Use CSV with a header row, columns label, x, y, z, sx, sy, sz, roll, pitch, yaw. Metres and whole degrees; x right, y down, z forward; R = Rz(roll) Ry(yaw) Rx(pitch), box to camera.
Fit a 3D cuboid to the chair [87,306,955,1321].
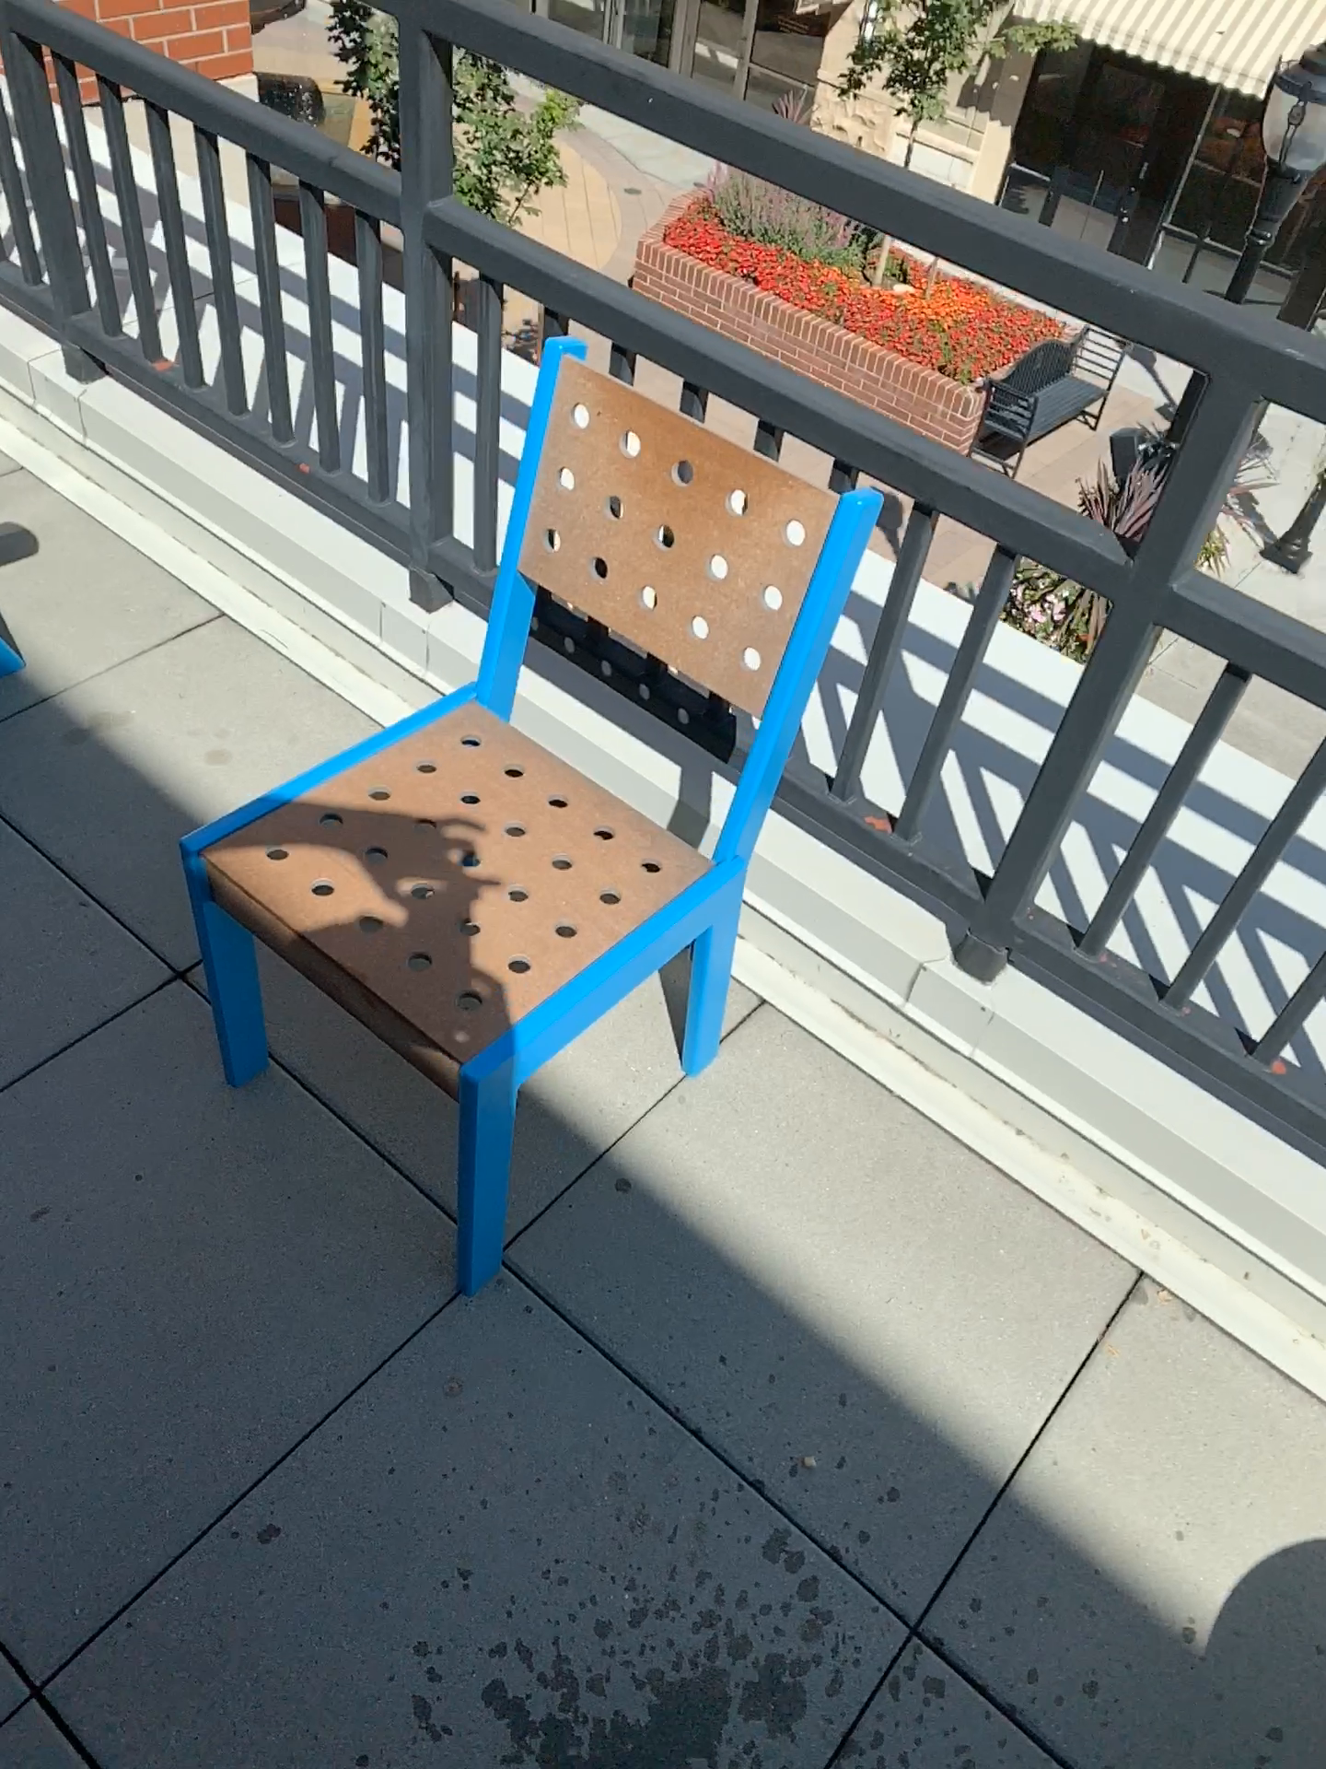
label,x,y,z,sx,sy,sz,roll,pitch,yaw
chair,-0.149,-0.074,1.563,0.471,0.857,0.672,35,51,22
